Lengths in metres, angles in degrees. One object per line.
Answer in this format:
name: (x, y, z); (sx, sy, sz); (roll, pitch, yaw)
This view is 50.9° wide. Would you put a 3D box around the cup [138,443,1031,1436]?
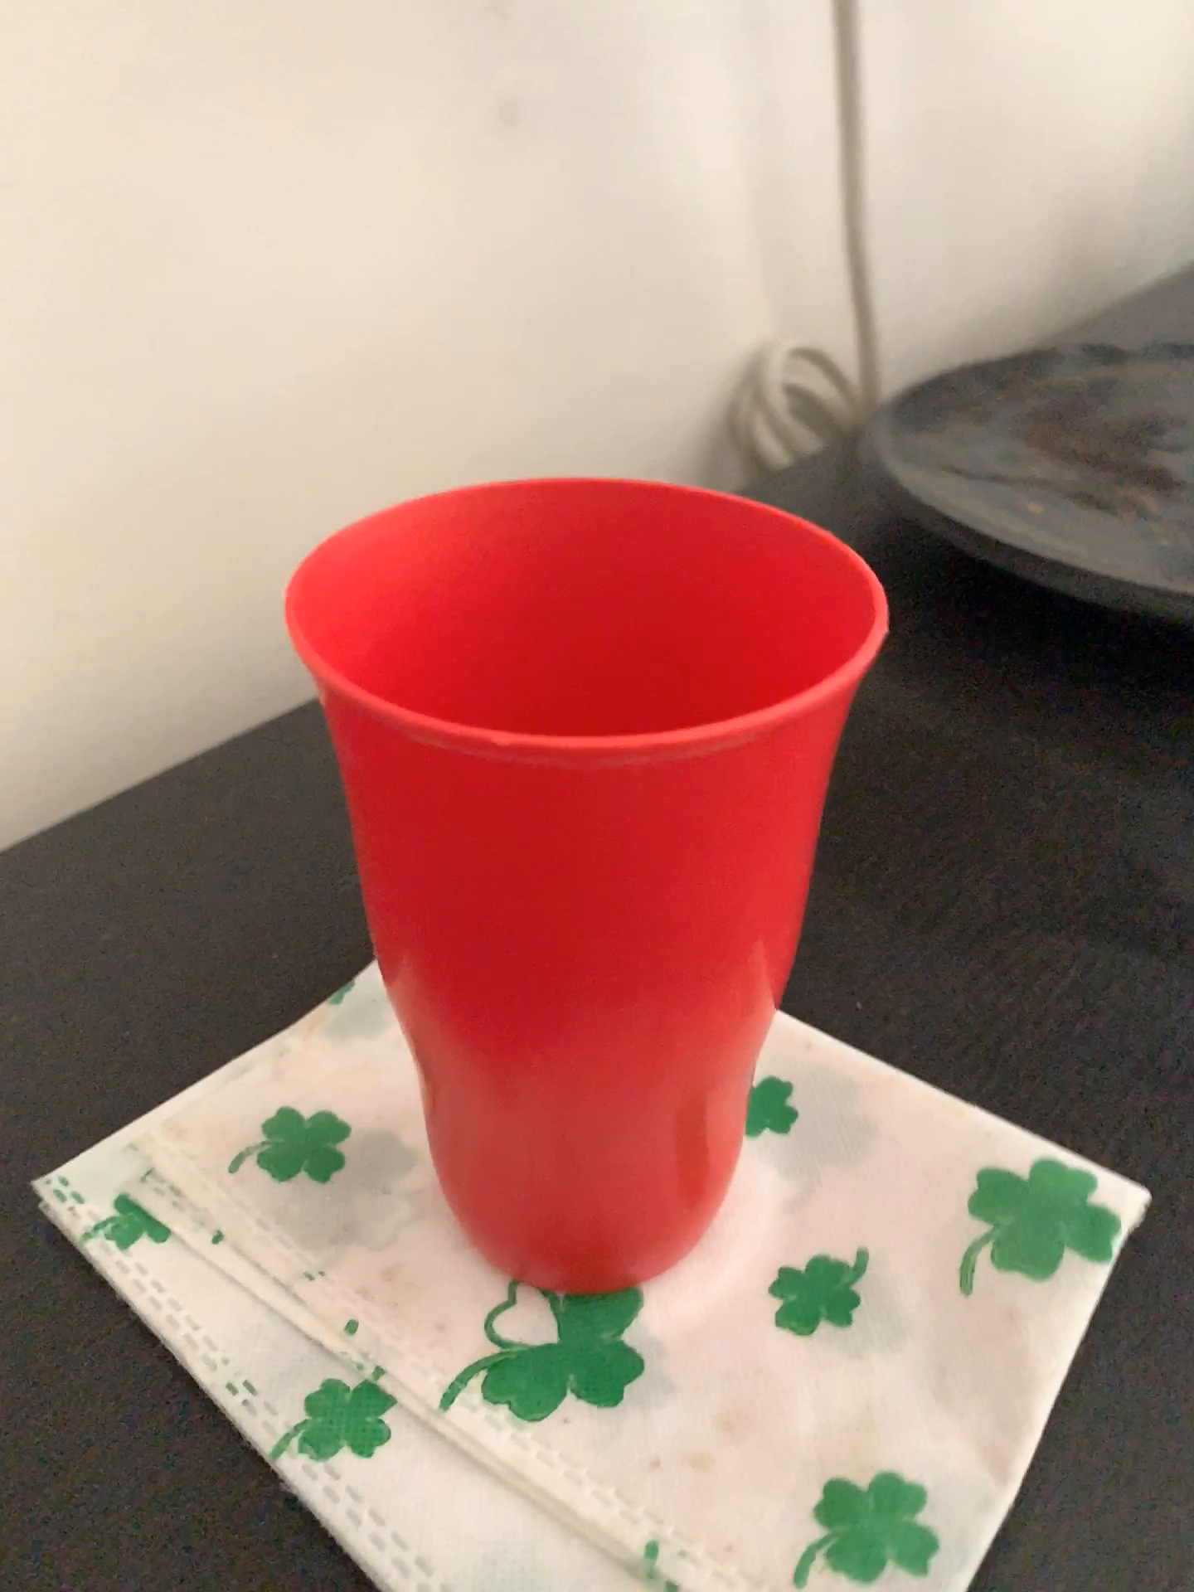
cup: (-0.004, 0.011, 0.181); (0.080, 0.091, 0.082); (0, 33, 0)
